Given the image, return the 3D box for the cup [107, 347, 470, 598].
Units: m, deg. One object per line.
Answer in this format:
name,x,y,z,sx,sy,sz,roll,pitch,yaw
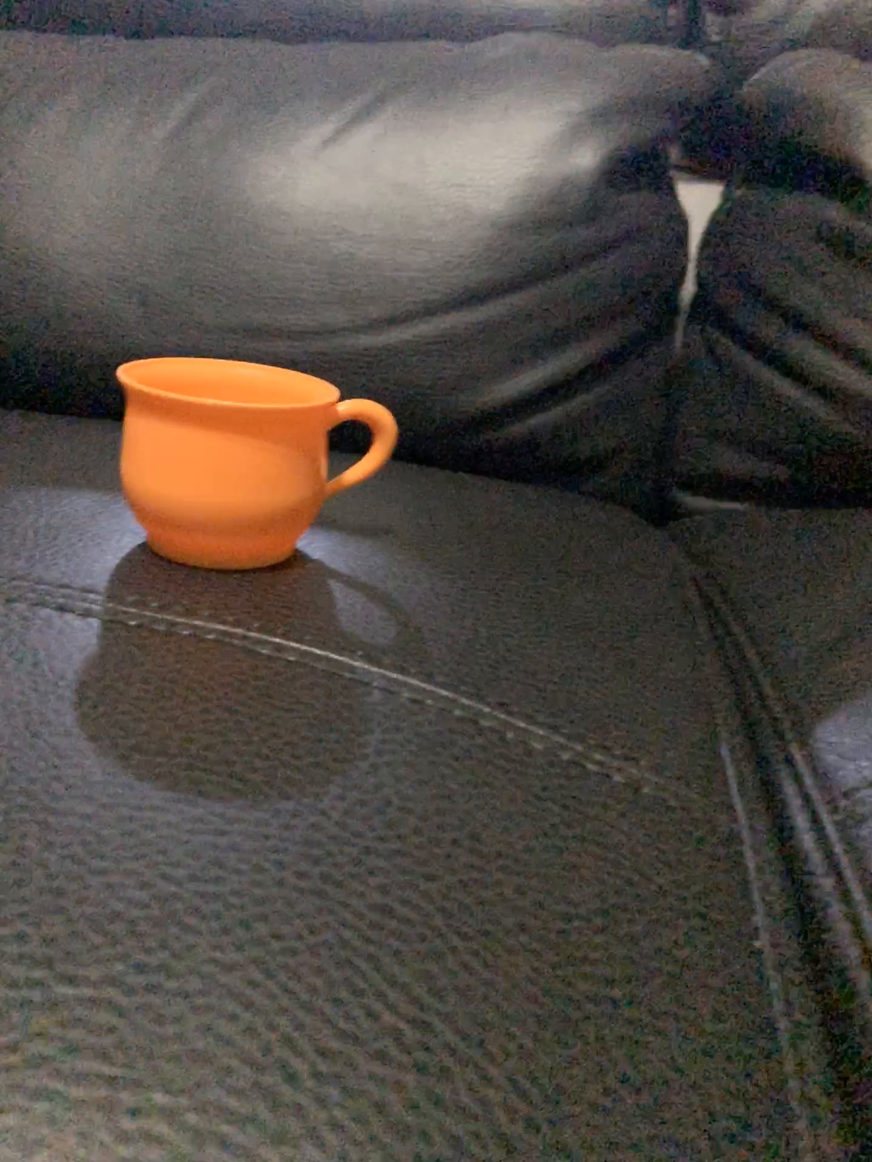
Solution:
cup,-0.043,-0.034,0.249,0.080,0.046,0.063,-6,26,-25
